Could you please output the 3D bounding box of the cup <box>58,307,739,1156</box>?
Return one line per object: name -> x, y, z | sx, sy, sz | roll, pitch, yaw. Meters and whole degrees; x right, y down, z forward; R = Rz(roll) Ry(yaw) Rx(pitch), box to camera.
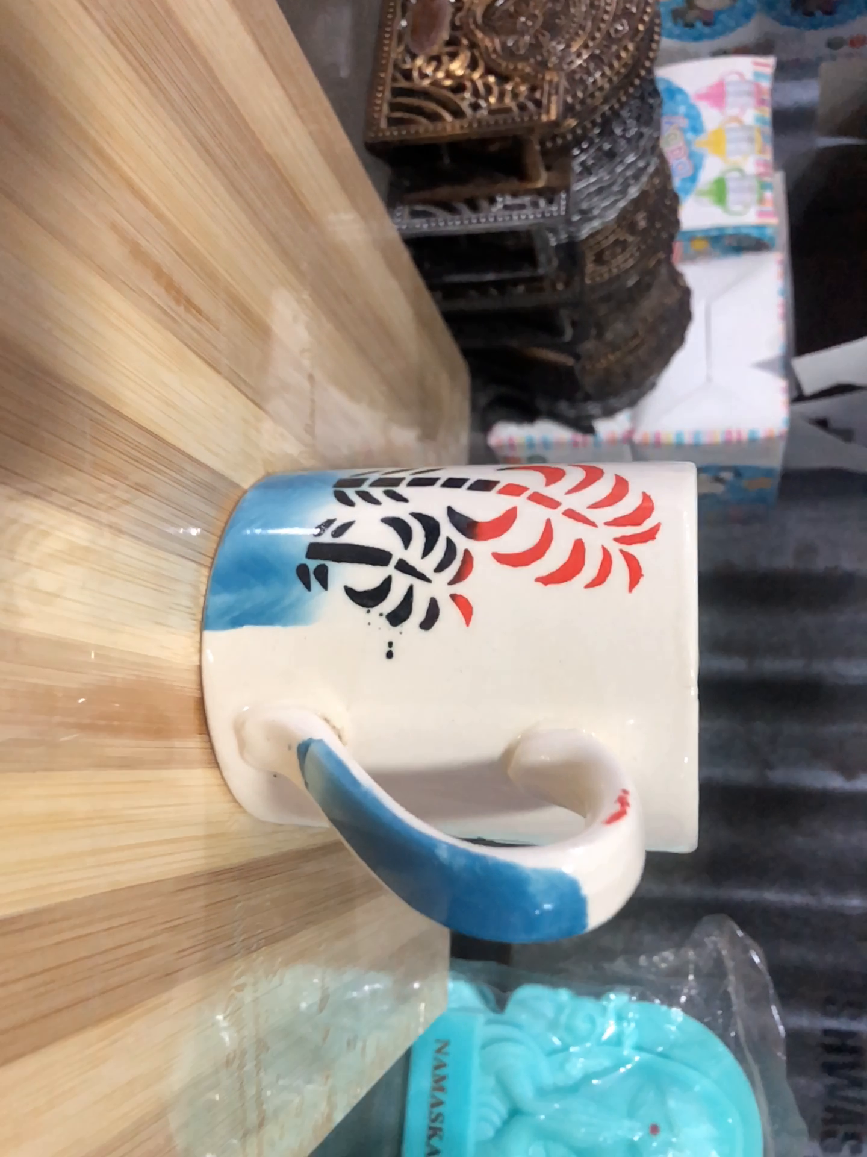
cup -> 0.011, 0.017, 0.186 | 0.120, 0.080, 0.100 | -68, 155, -57
